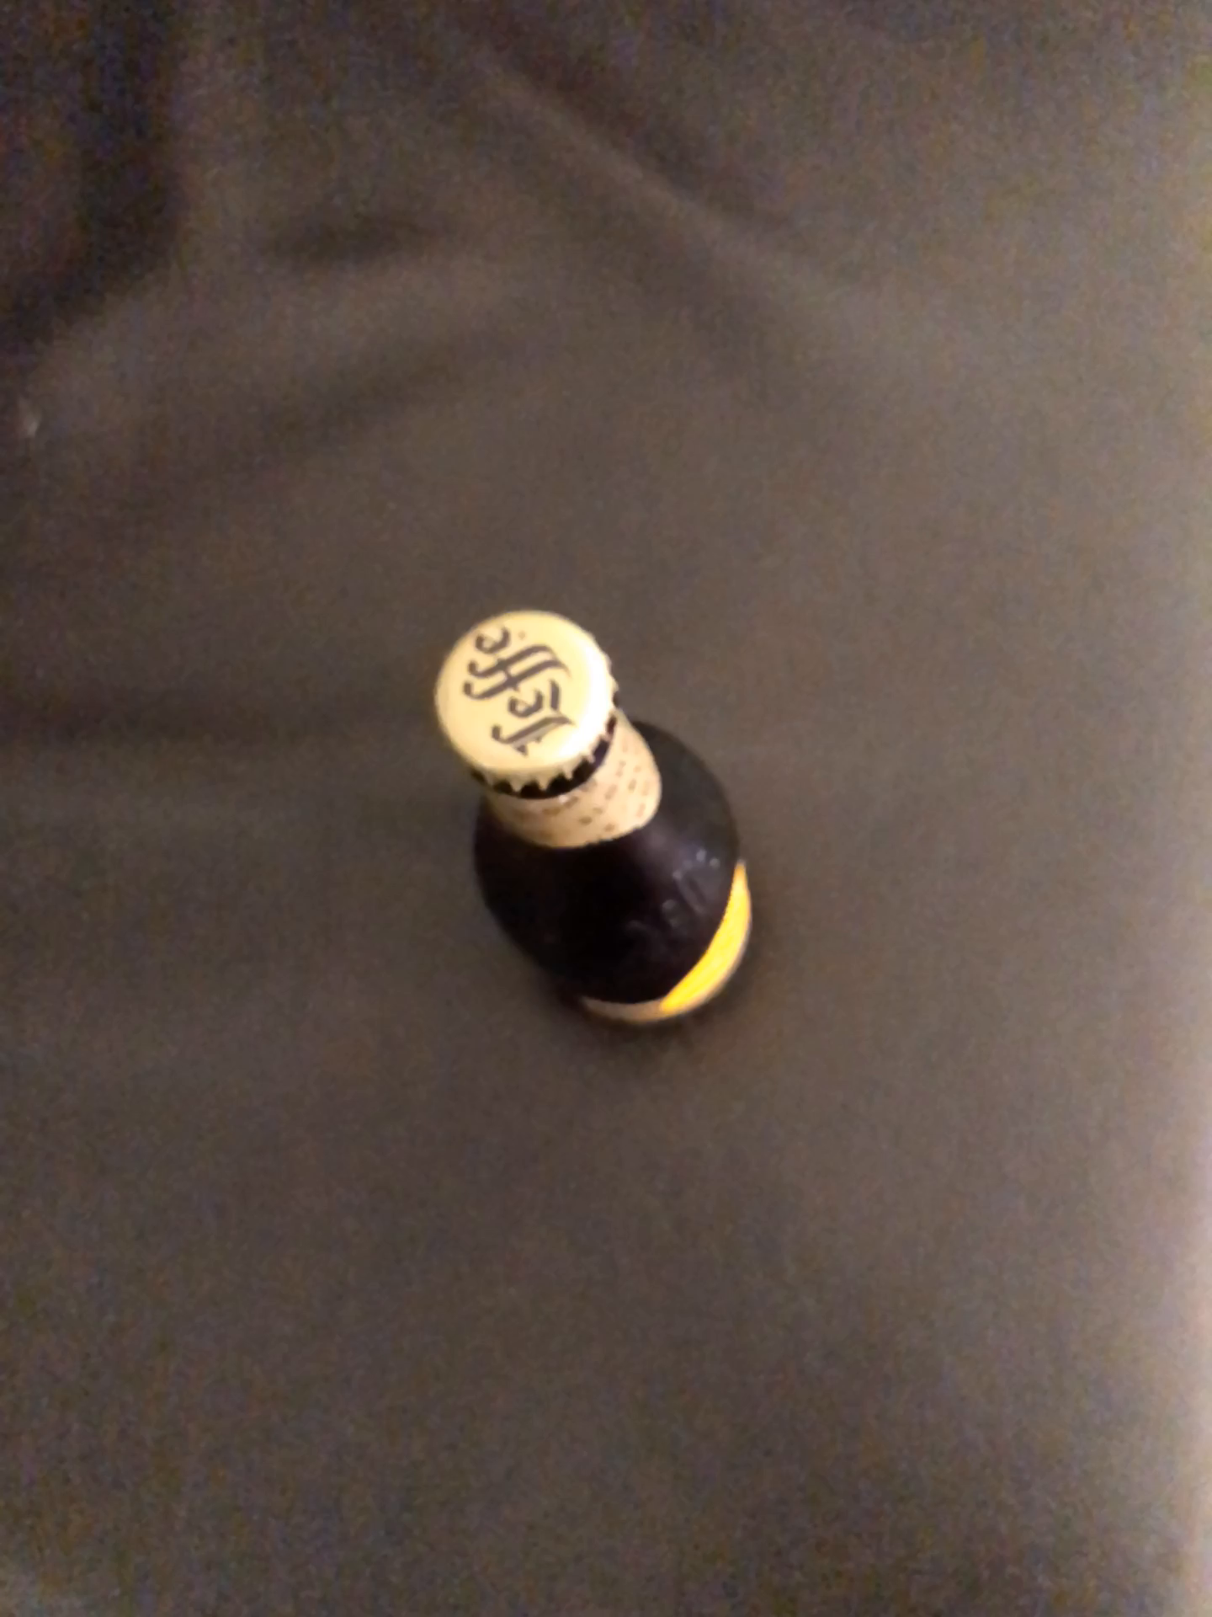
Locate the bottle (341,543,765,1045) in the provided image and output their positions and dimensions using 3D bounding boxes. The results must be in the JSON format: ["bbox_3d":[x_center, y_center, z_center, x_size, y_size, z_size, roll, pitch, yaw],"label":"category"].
[{"bbox_3d":[0.002,0.013,0.291,0.060,0.190,0.060,-1,76,5],"label":"bottle"}]
